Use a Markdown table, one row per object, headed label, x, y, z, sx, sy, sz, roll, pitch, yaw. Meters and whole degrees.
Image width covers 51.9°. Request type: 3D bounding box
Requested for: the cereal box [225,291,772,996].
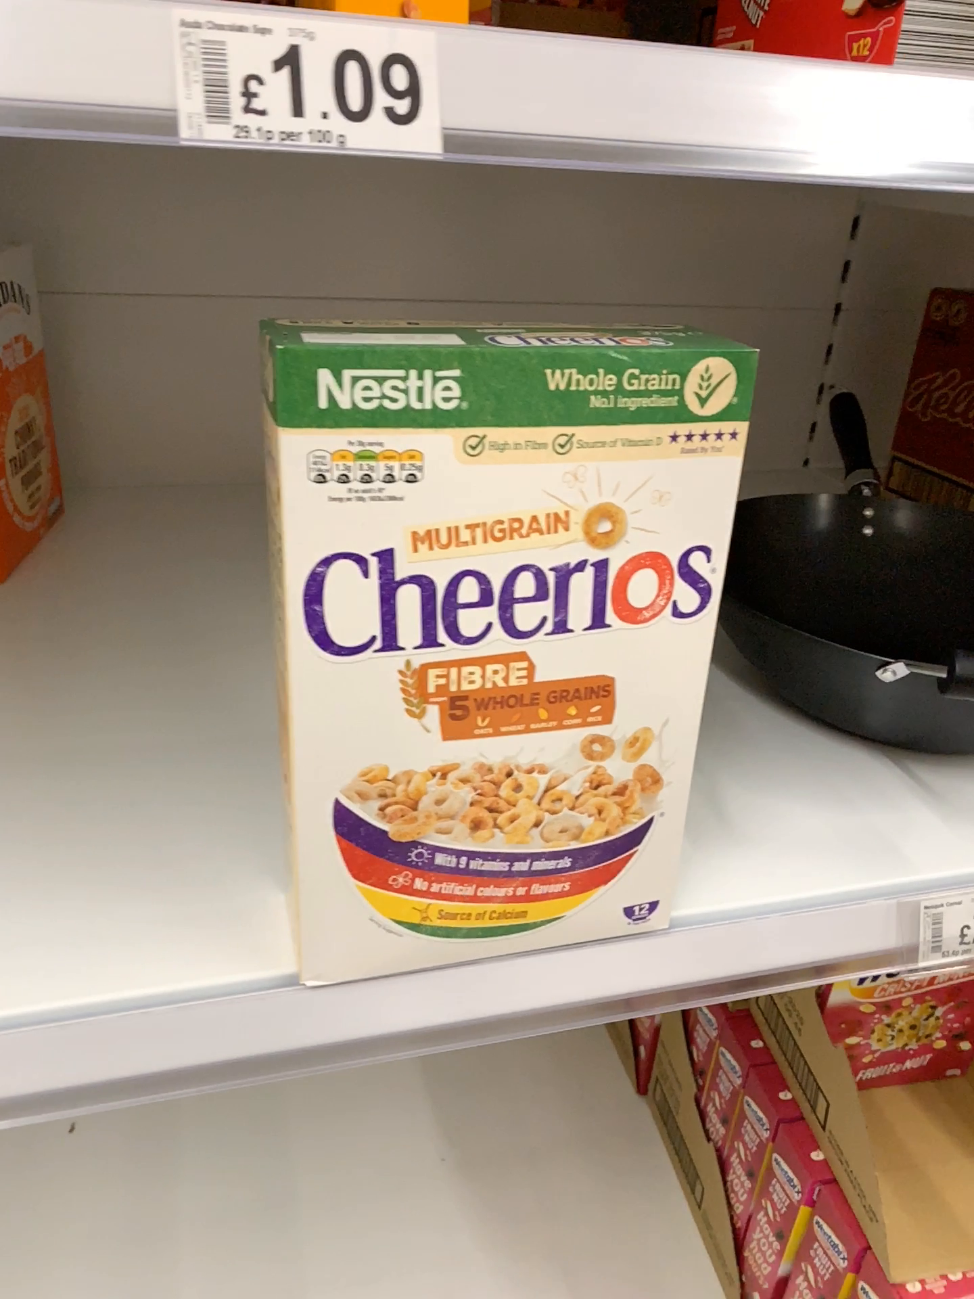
| label | x | y | z | sx | sy | sz | roll | pitch | yaw |
| --- | --- | --- | --- | --- | --- | --- | --- | --- | --- |
| cereal box | -0.003 | -0.001 | 0.444 | 0.200 | 0.288 | 0.071 | -4 | 25 | -17 |
